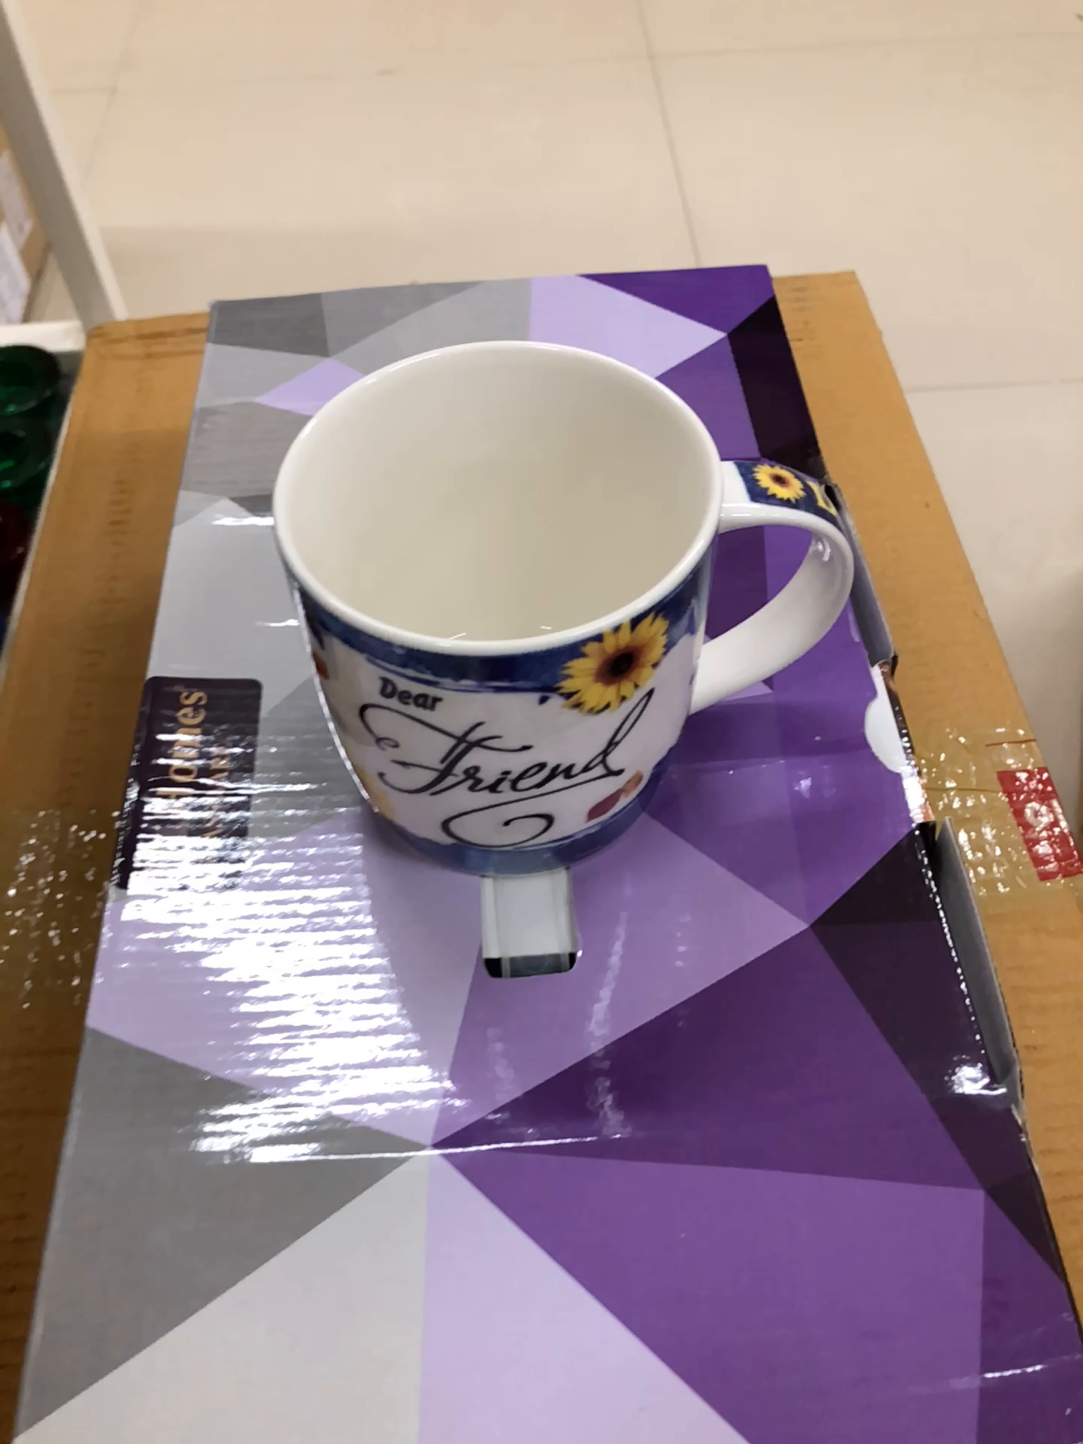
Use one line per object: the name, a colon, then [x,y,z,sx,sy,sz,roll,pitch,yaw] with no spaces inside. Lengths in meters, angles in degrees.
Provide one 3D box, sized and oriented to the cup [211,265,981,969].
cup: [0.008,-0.022,0.259,0.120,0.090,0.080,-19,56,-12]
